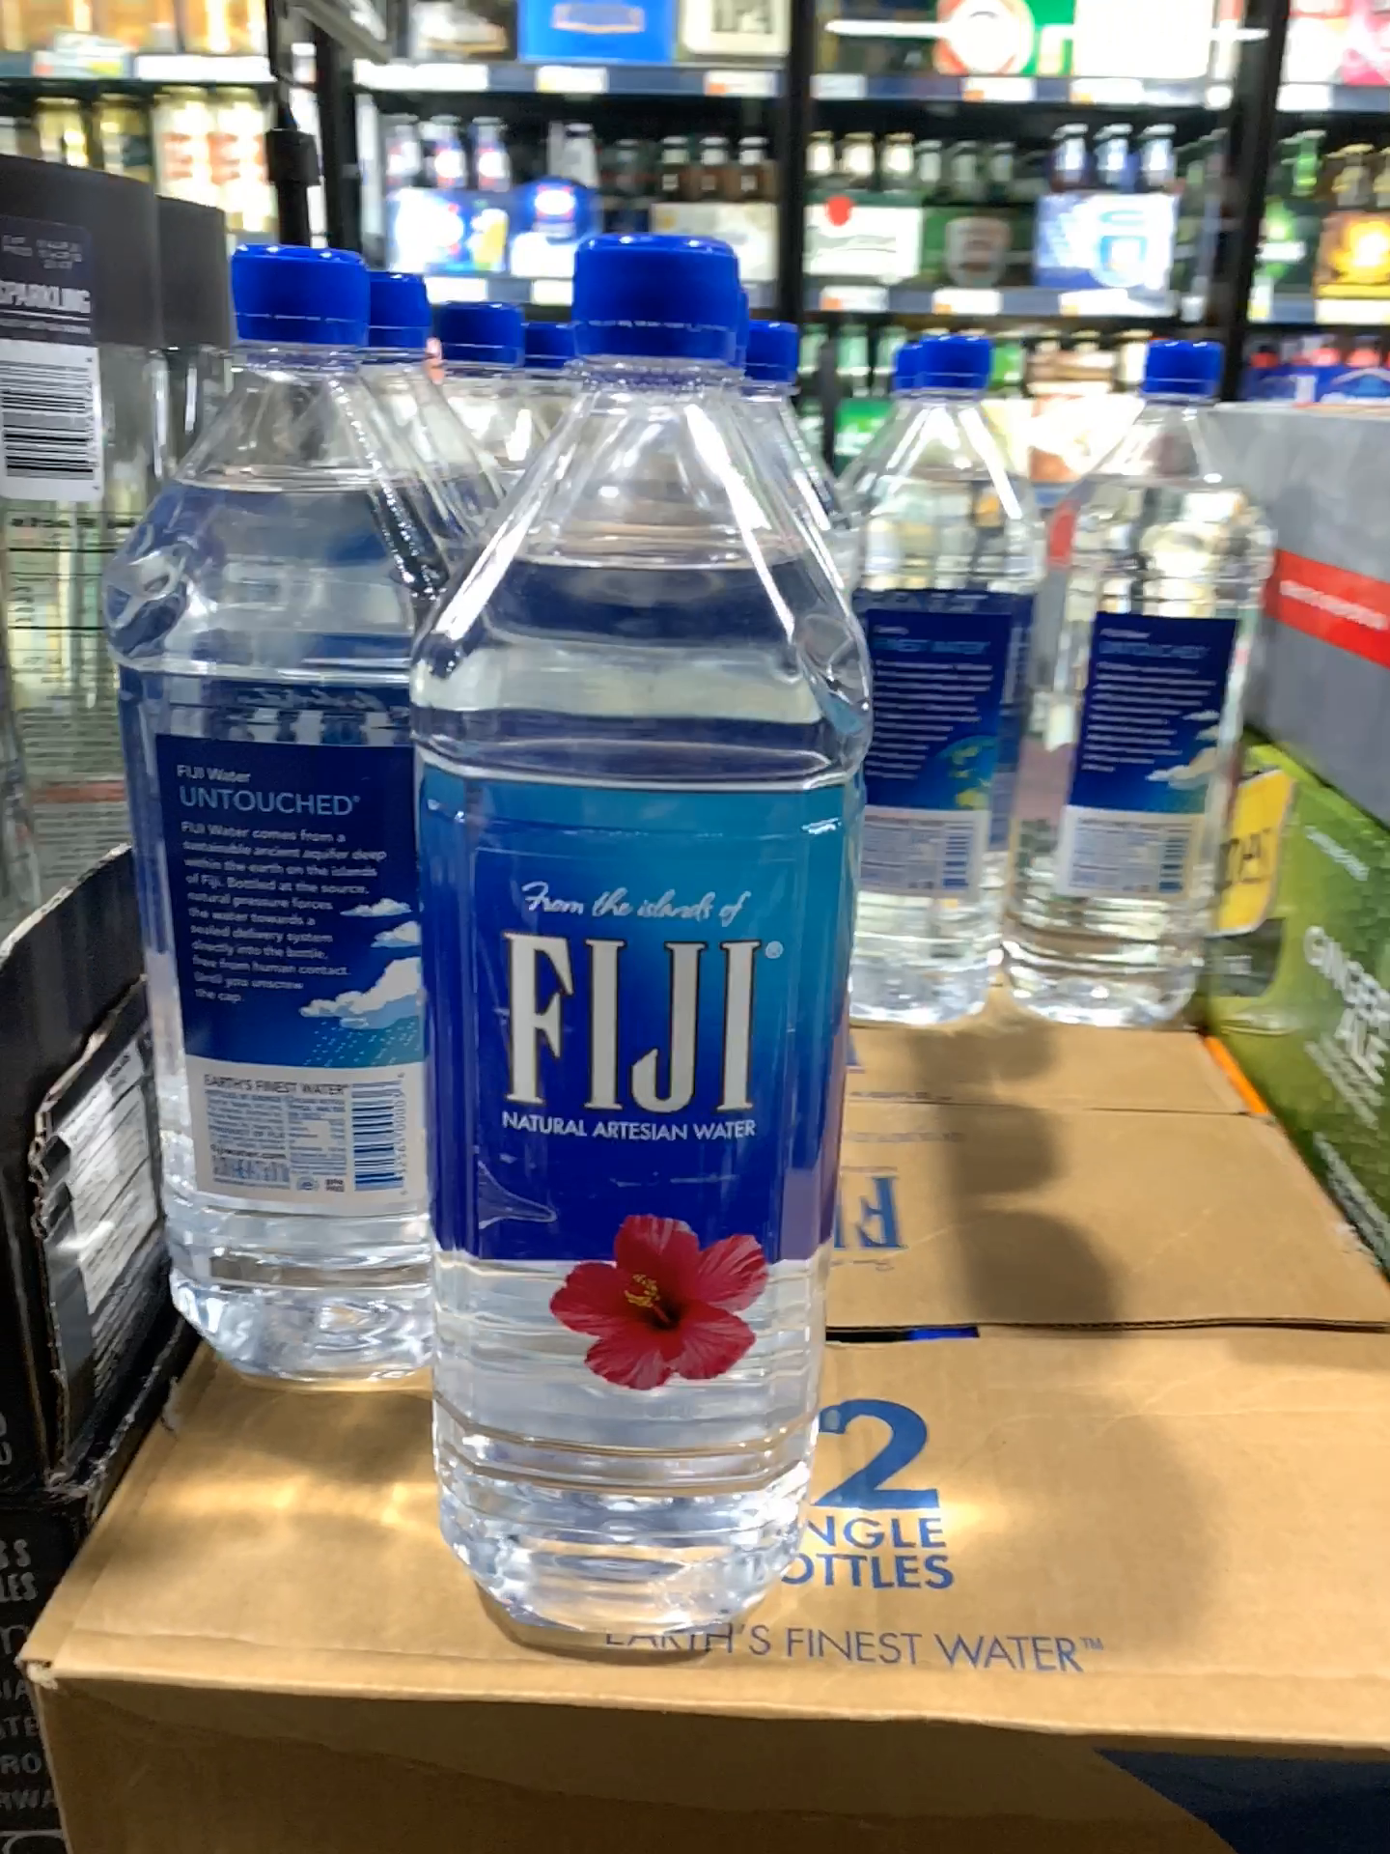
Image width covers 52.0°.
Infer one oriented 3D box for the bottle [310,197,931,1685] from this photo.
[{"bbox_3d":[-0.010,0.012,0.291,0.090,0.279,0.080,3,21,5],"label":"bottle"}]
